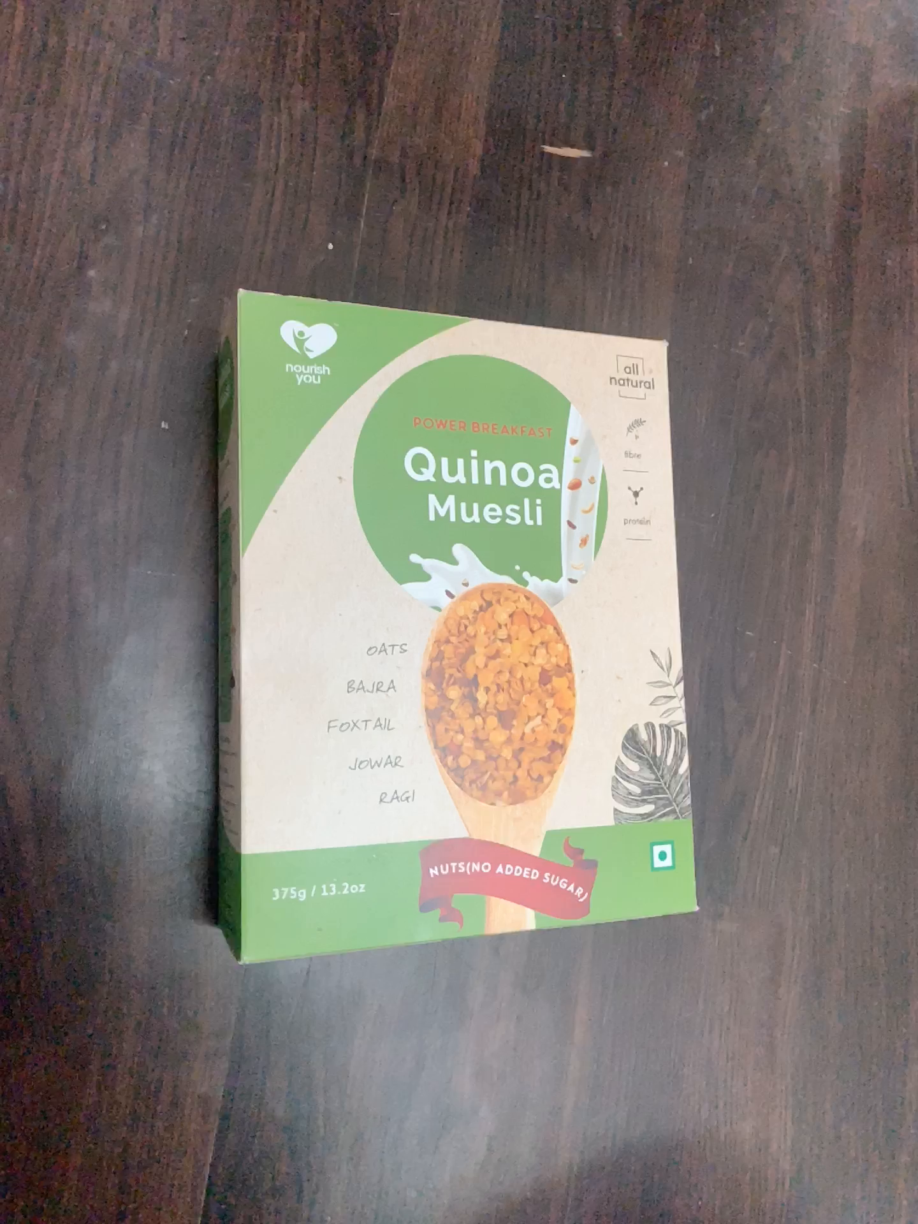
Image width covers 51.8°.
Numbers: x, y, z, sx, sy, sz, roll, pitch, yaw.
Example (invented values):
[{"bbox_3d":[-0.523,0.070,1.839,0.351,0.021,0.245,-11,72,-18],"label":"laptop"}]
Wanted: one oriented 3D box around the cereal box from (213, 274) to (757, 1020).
[{"bbox_3d":[0.005,0.010,0.326,0.170,0.070,0.210,0,86,-19],"label":"cereal box"}]
